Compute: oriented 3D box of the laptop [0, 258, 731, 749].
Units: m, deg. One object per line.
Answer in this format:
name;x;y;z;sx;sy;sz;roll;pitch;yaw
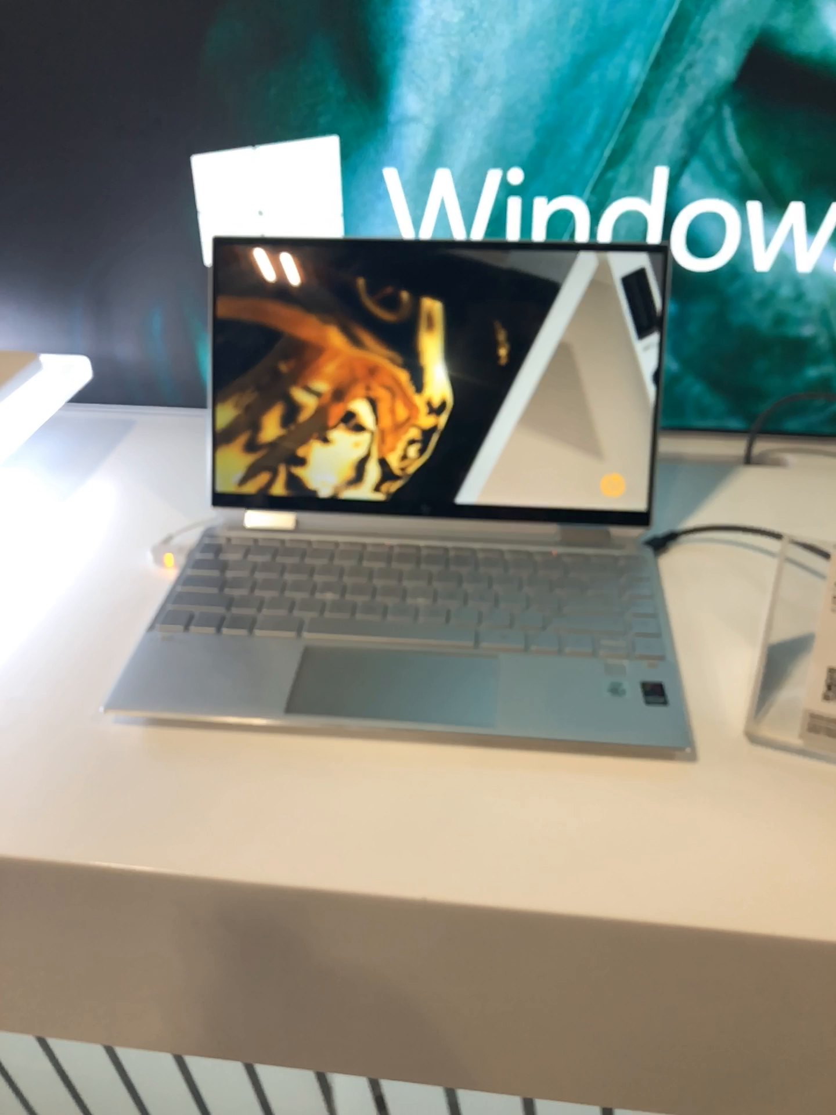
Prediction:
laptop;-0.015;-0.048;0.511;0.281;0.194;0.241;3;27;5
